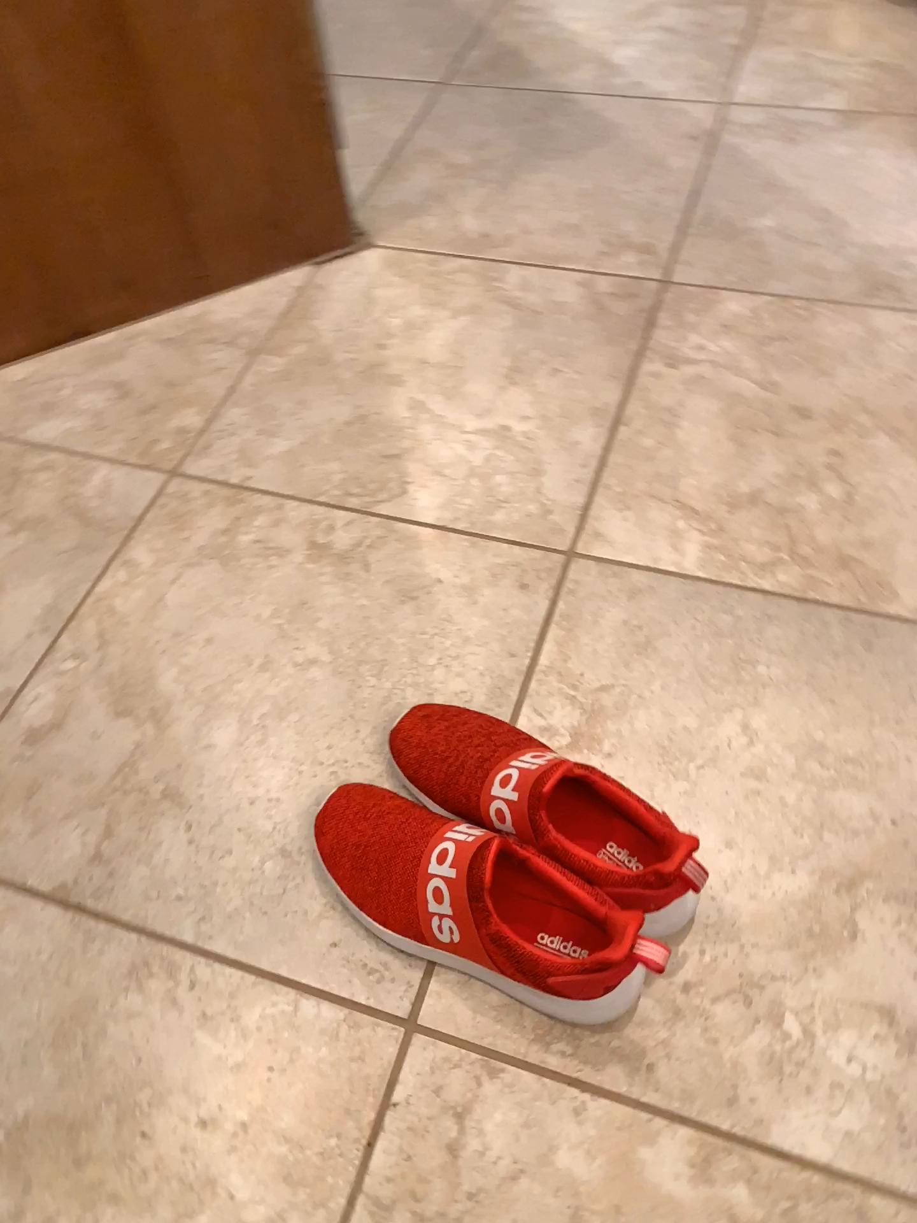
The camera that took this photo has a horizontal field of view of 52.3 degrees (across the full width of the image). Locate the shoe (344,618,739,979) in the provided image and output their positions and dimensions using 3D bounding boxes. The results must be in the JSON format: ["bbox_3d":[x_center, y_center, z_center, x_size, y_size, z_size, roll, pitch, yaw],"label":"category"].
[{"bbox_3d":[0.062,0.149,0.788,0.301,0.119,0.118,31,61,26],"label":"shoe"}]

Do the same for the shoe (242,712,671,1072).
[{"bbox_3d":[-0.002,0.215,0.739,0.300,0.119,0.118,23,59,21],"label":"shoe"}]
